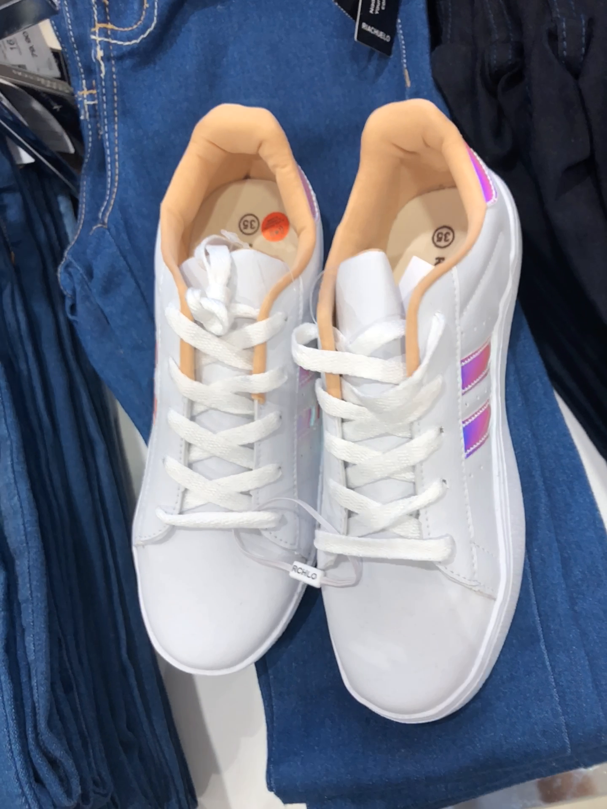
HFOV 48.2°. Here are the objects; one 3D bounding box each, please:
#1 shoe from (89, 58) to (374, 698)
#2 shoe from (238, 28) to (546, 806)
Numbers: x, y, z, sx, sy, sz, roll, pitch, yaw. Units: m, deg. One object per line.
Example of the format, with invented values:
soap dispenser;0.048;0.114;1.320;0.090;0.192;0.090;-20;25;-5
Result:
shoe;-0.020;-0.014;0.327;0.090;0.110;0.260;4;79;5
shoe;0.051;0.001;0.290;0.090;0.110;0.260;0;78;24
